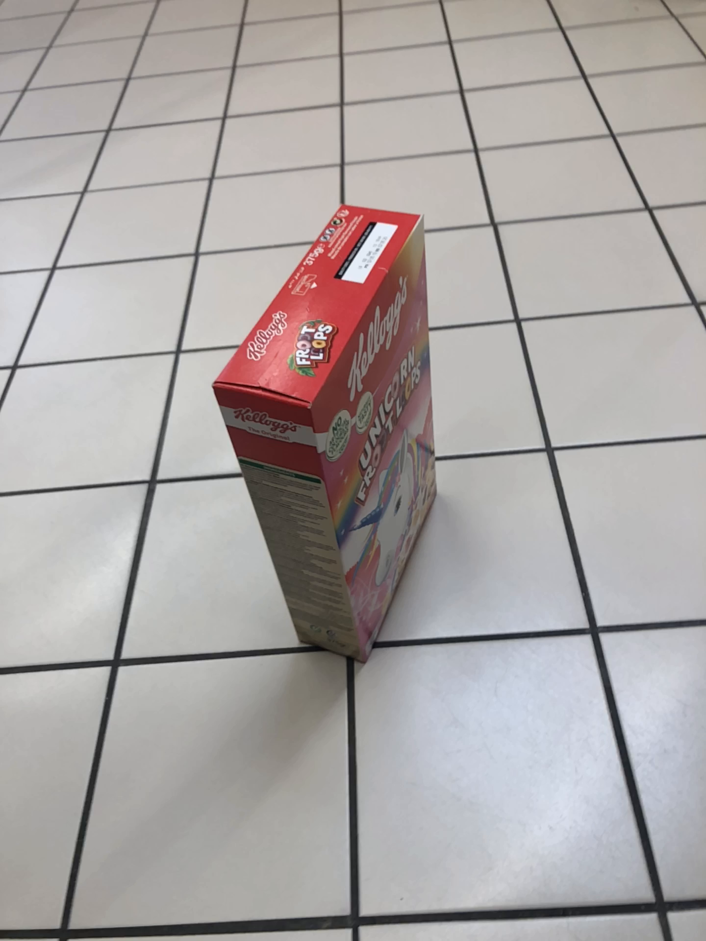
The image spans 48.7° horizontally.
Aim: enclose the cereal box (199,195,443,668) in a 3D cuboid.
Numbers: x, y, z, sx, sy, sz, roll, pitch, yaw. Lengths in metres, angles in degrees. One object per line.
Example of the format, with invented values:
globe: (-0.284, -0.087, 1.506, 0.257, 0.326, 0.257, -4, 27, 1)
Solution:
cereal box: (0.000, -0.017, 0.594, 0.070, 0.298, 0.201, 14, 52, 19)
